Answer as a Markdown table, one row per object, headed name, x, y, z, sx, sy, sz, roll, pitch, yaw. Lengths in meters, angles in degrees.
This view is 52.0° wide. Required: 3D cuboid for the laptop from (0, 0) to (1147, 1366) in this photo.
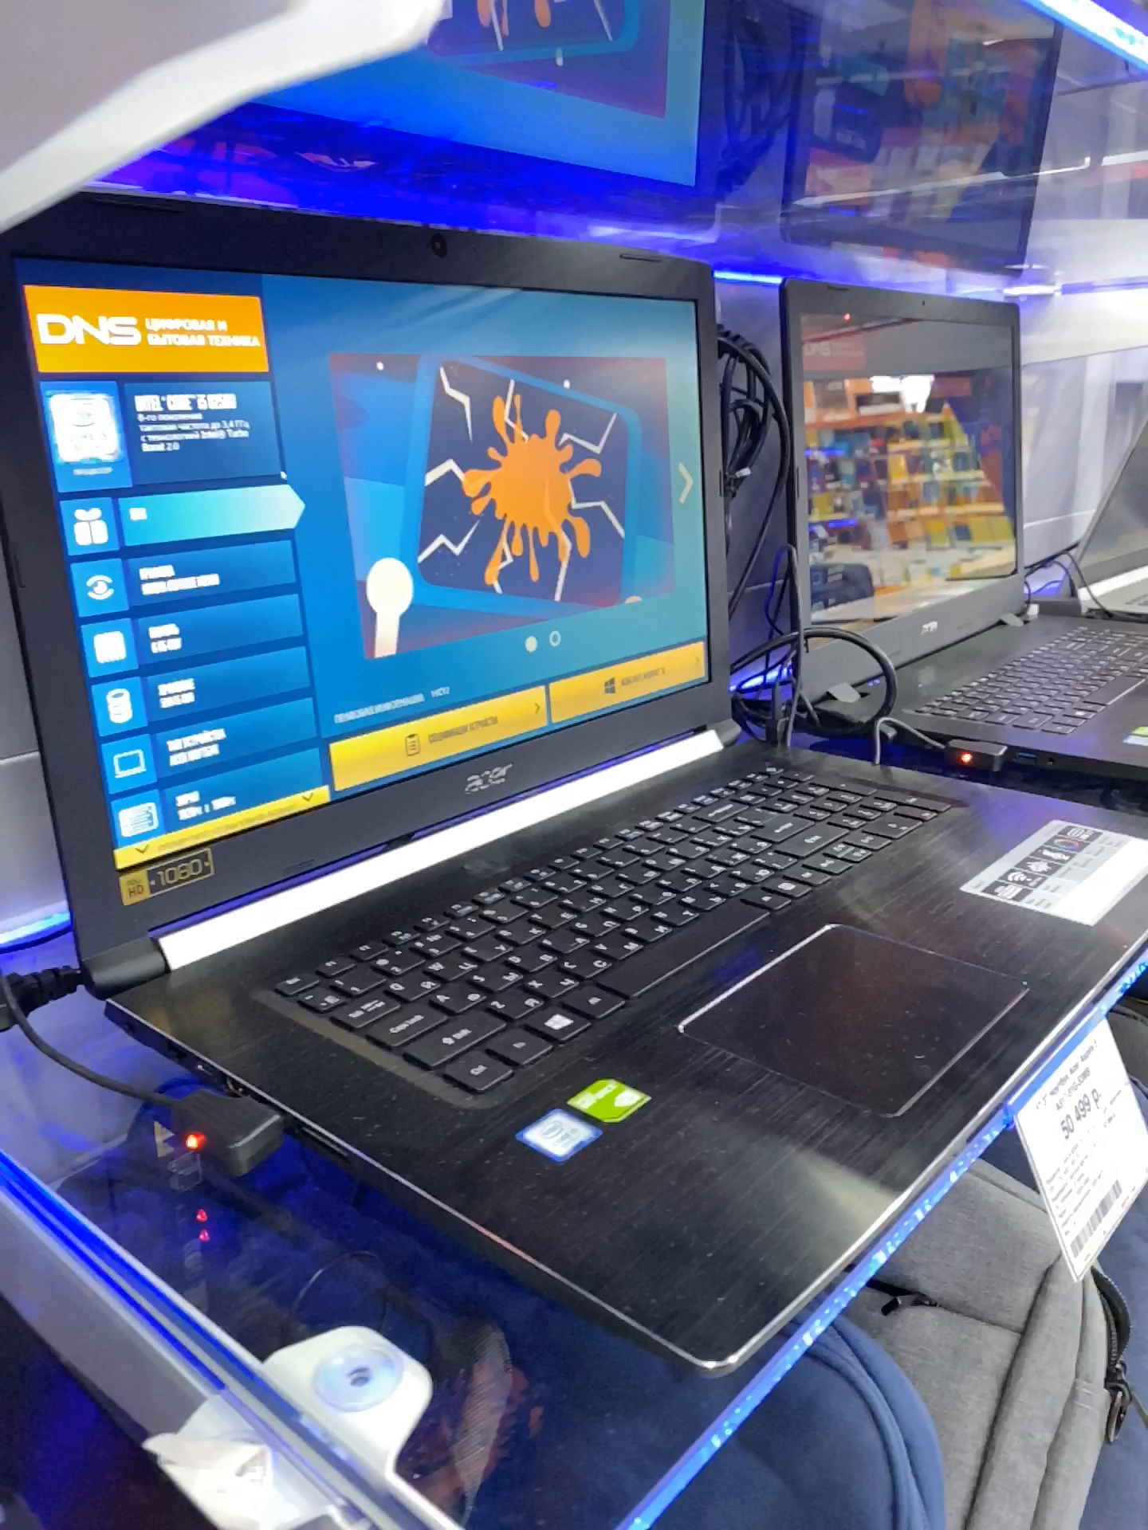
| name | x | y | z | sx | sy | sz | roll | pitch | yaw |
| --- | --- | --- | --- | --- | --- | --- | --- | --- | --- |
| laptop | 0.056 | -0.078 | 0.467 | 0.311 | 0.278 | 0.424 | 13 | 22 | 39 |
